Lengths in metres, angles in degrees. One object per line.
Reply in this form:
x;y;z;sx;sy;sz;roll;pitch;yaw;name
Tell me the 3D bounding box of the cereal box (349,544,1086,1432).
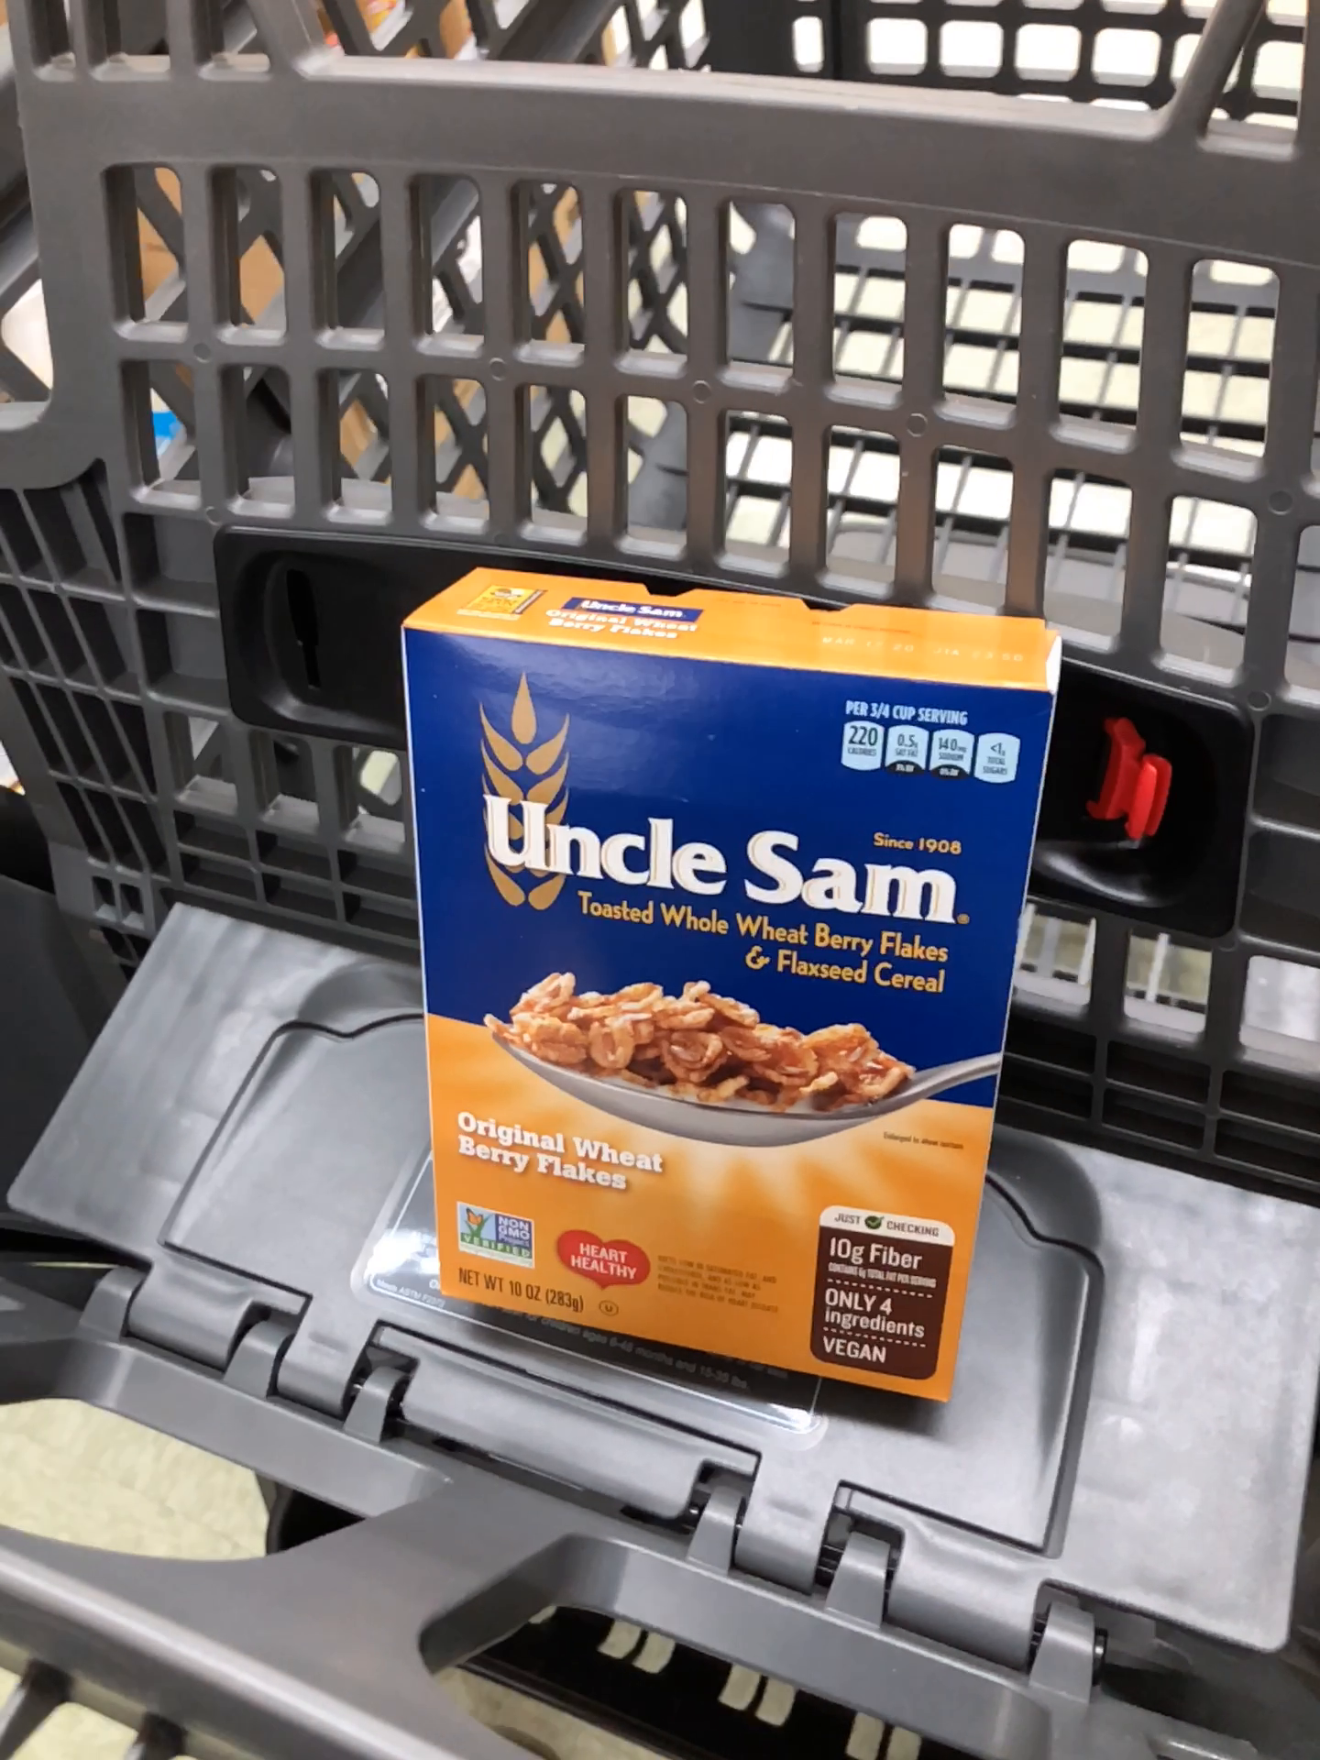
0.012;0.030;0.380;0.160;0.210;0.050;8;28;14;cereal box
